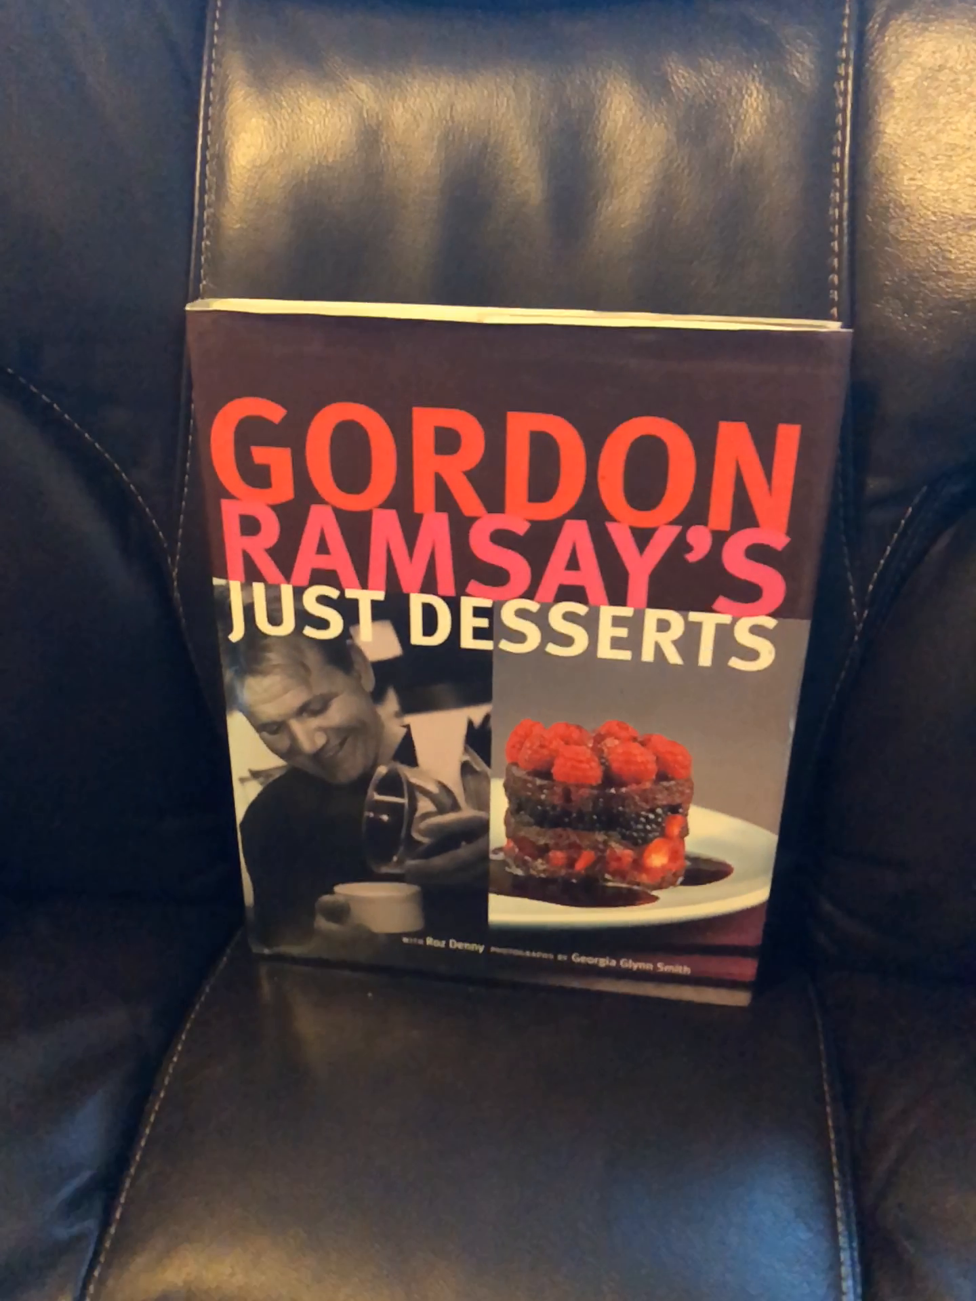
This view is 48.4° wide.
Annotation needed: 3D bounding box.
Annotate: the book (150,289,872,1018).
[{"bbox_3d":[0.005,0.016,0.428,0.230,0.293,0.030,4,29,8],"label":"book"}]
